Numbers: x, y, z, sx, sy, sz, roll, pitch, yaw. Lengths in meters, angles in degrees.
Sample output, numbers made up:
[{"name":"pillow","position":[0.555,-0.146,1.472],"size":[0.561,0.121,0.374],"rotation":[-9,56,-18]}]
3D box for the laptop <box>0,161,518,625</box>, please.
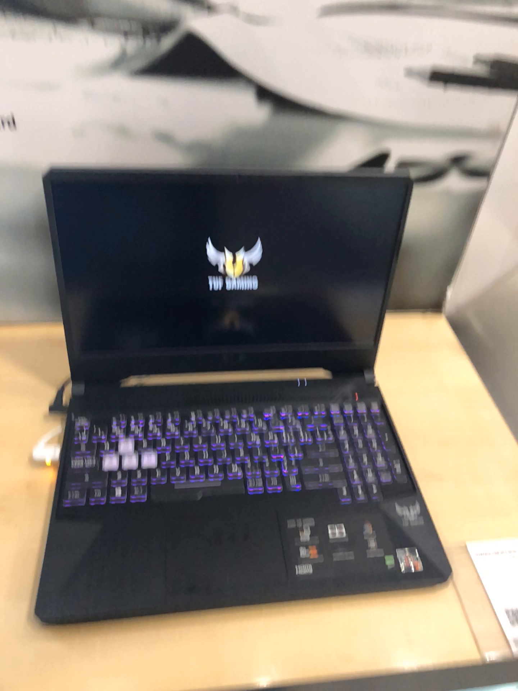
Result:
[{"name":"laptop","position":[-0.014,0.021,0.515],"size":[0.359,0.245,0.310],"rotation":[-2,42,-9]}]
